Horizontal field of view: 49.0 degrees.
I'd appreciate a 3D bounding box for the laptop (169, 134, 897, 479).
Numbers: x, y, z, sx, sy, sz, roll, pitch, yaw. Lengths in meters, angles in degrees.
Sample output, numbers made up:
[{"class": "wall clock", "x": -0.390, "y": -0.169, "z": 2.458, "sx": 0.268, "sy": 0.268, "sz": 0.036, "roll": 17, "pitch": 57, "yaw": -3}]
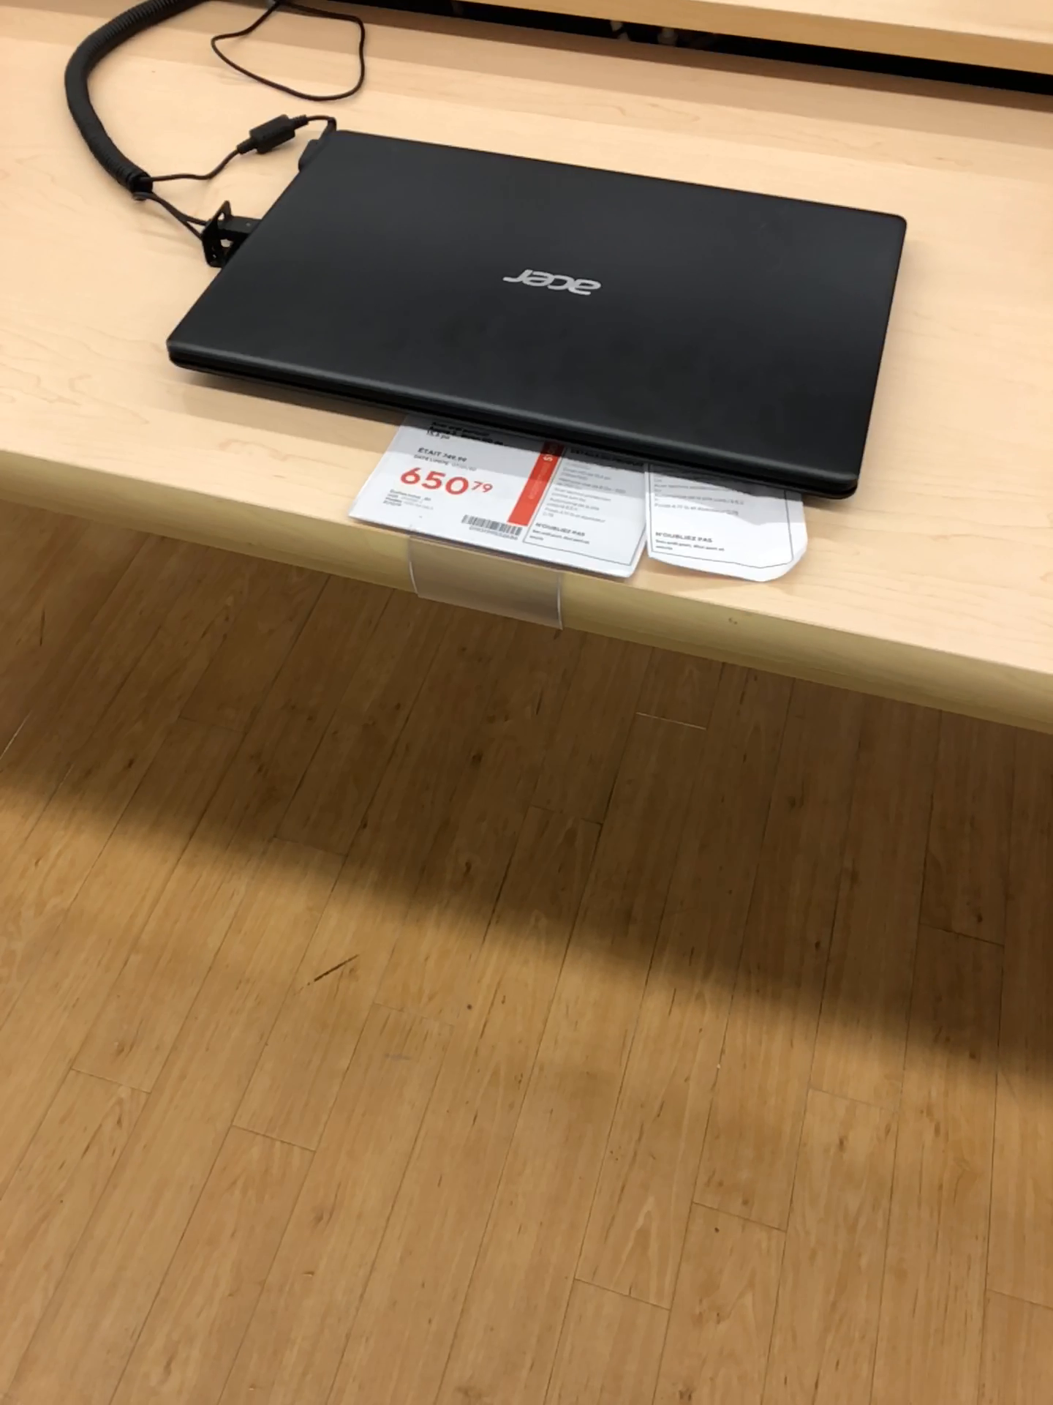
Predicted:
[{"class": "laptop", "x": 0.014, "y": -0.228, "z": 0.629, "sx": 0.346, "sy": 0.003, "sz": 0.213, "roll": 13, "pitch": 56, "yaw": 9}]
